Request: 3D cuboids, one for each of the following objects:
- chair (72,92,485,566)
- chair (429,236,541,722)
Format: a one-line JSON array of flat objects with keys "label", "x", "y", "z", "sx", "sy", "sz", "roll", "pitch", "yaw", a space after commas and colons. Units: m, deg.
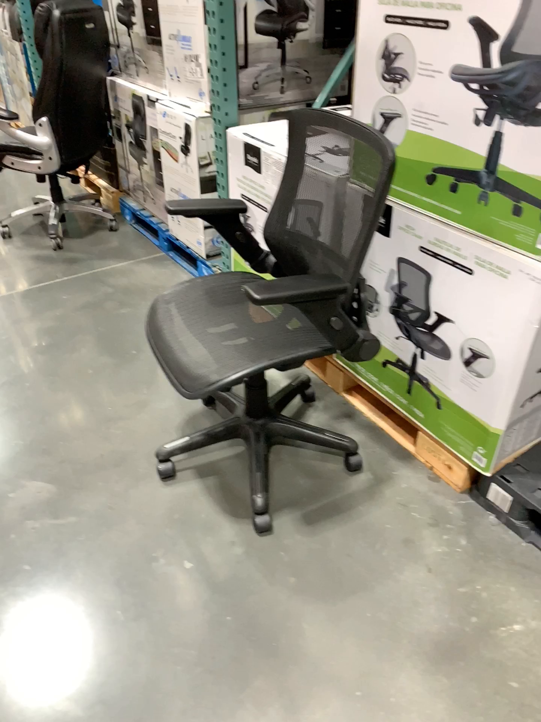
[{"label": "chair", "x": -0.029, "y": -0.129, "z": 1.552, "sx": 0.735, "sy": 0.986, "sz": 0.679, "roll": -15, "pitch": 38, "yaw": -19}, {"label": "chair", "x": 0.713, "y": 0.753, "z": 0.090, "sx": 0.755, "sy": 1.146, "sz": 0.970, "roll": -11, "pitch": 37, "yaw": -15}]
